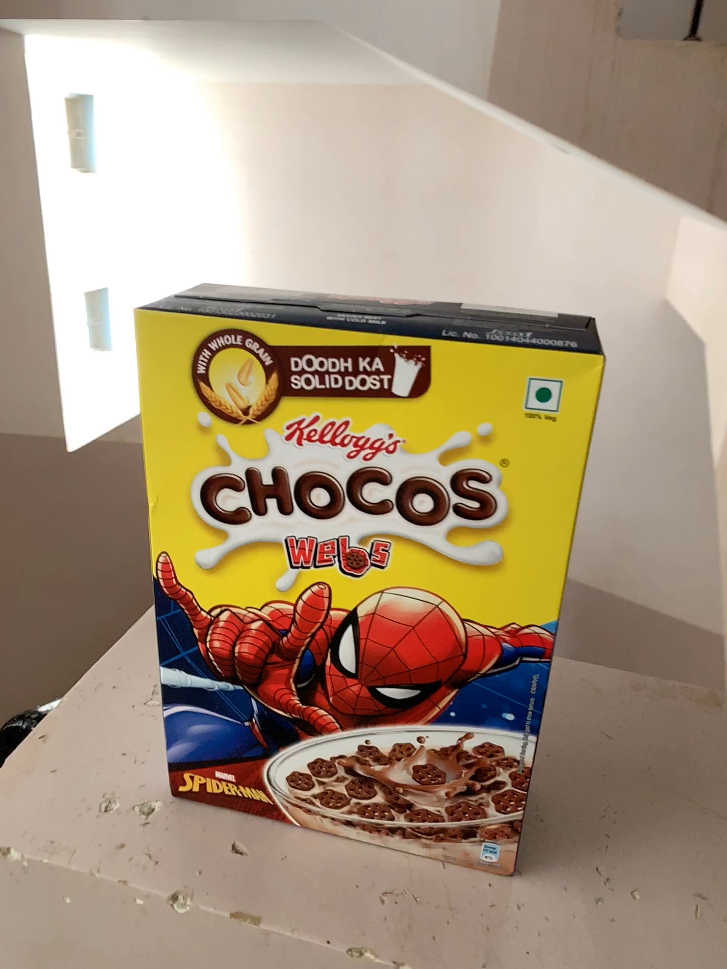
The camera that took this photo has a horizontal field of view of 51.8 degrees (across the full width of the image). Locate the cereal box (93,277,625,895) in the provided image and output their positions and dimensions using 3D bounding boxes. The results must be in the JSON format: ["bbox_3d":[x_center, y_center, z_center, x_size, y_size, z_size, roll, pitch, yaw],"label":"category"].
[{"bbox_3d":[-0.004,0.045,0.340,0.190,0.248,0.070,7,24,12],"label":"cereal box"}]
